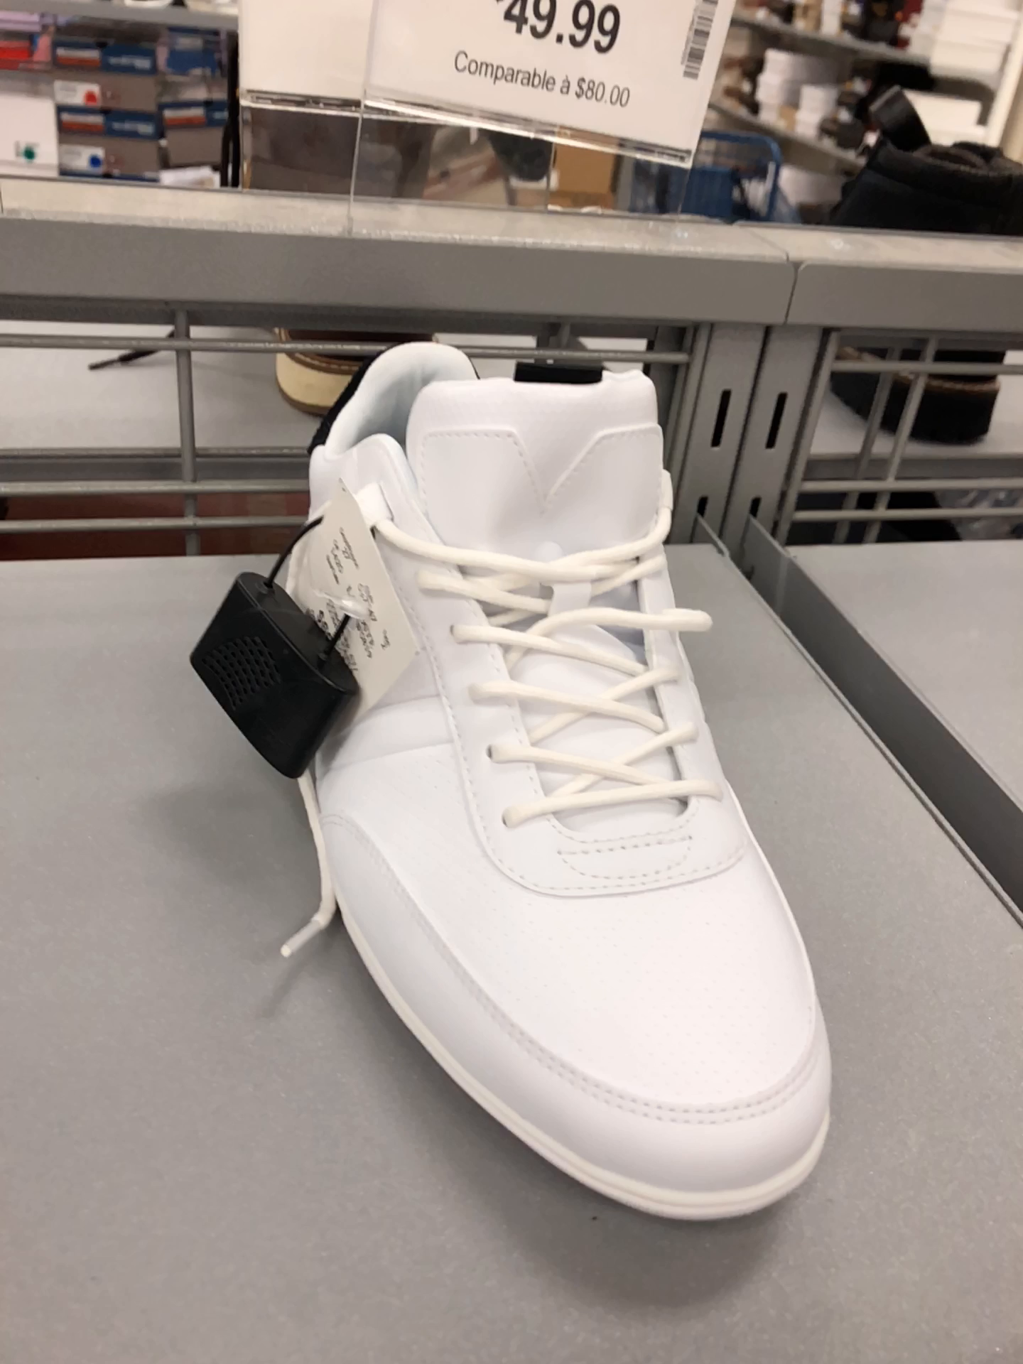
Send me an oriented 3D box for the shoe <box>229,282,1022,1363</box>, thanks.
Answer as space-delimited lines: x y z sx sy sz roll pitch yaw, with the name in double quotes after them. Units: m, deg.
0.003 -0.005 0.298 0.110 0.119 0.272 -6 35 -20 "shoe"
